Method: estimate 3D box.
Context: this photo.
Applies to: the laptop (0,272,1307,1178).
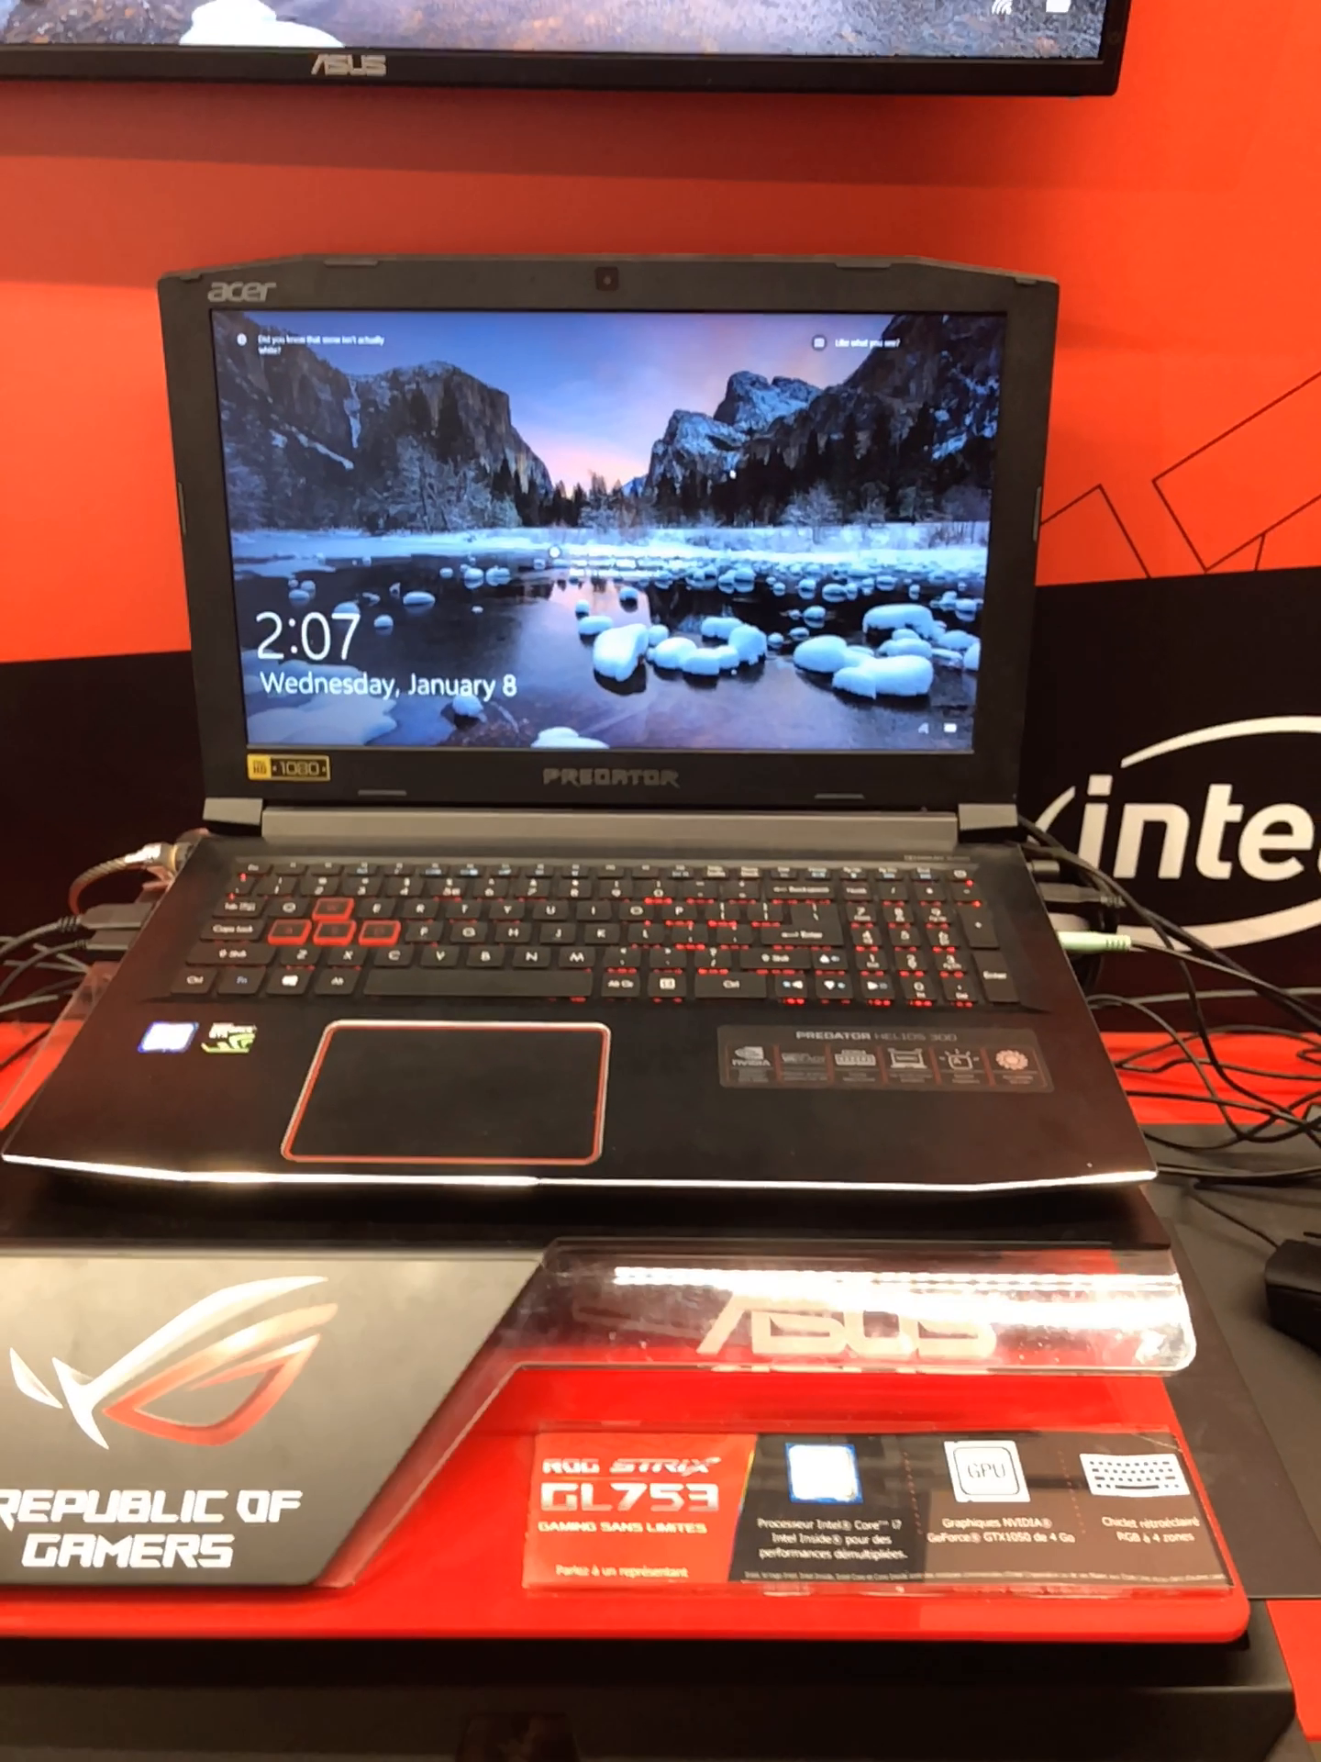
[{"bbox_3d":[-0.024,-0.084,0.559,0.385,0.240,0.295,1,28,1],"label":"laptop"}]
